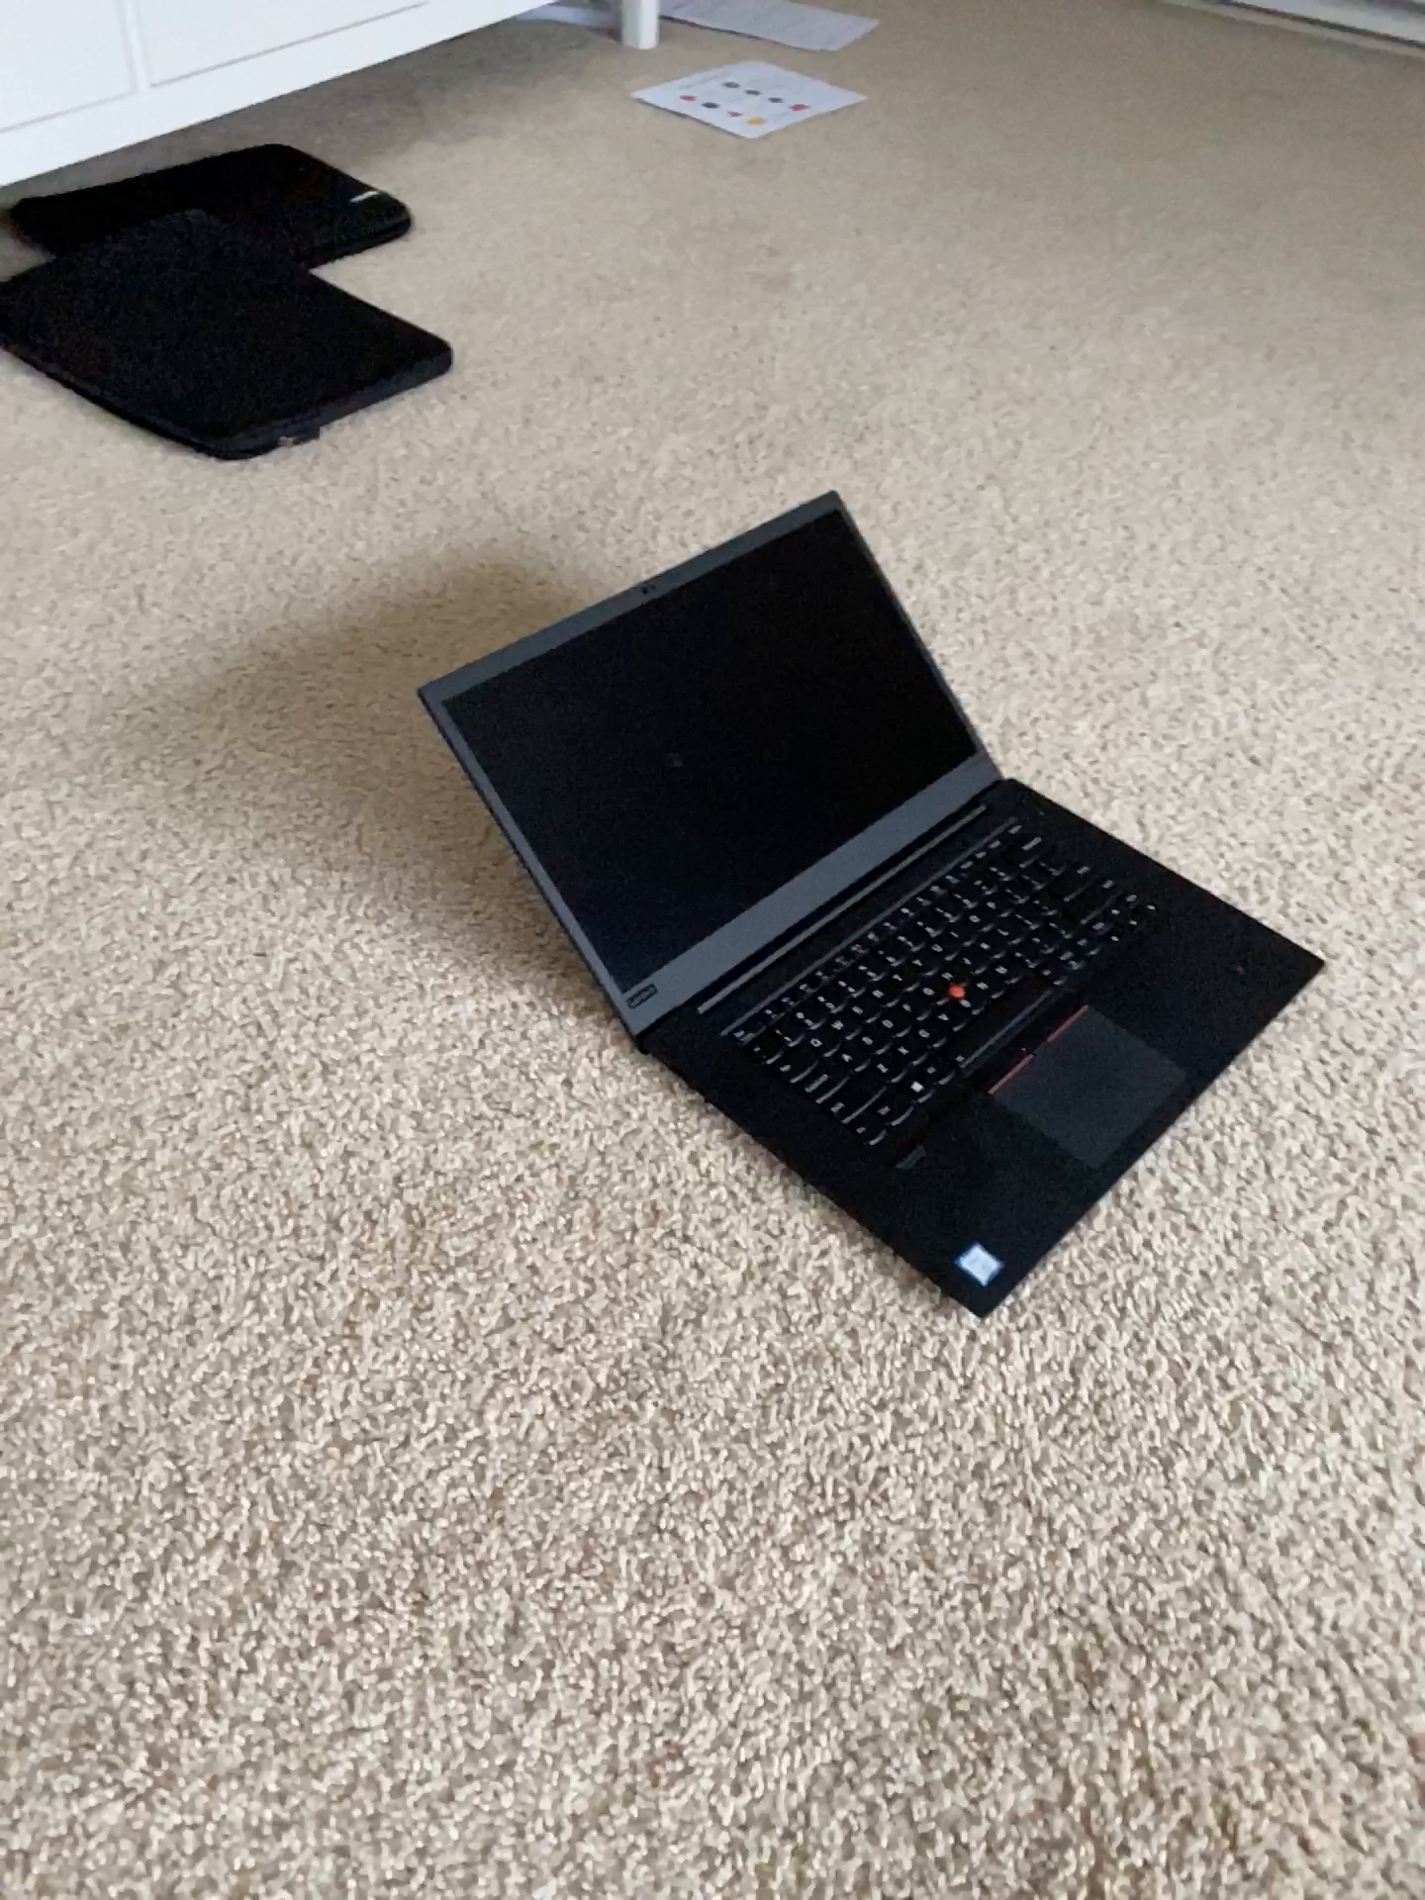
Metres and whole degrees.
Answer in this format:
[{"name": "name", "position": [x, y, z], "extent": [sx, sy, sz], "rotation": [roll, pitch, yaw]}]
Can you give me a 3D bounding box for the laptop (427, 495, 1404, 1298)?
[{"name": "laptop", "position": [0.111, -0.073, 0.880], "extent": [0.433, 0.141, 0.361], "rotation": [36, 53, 27]}]
